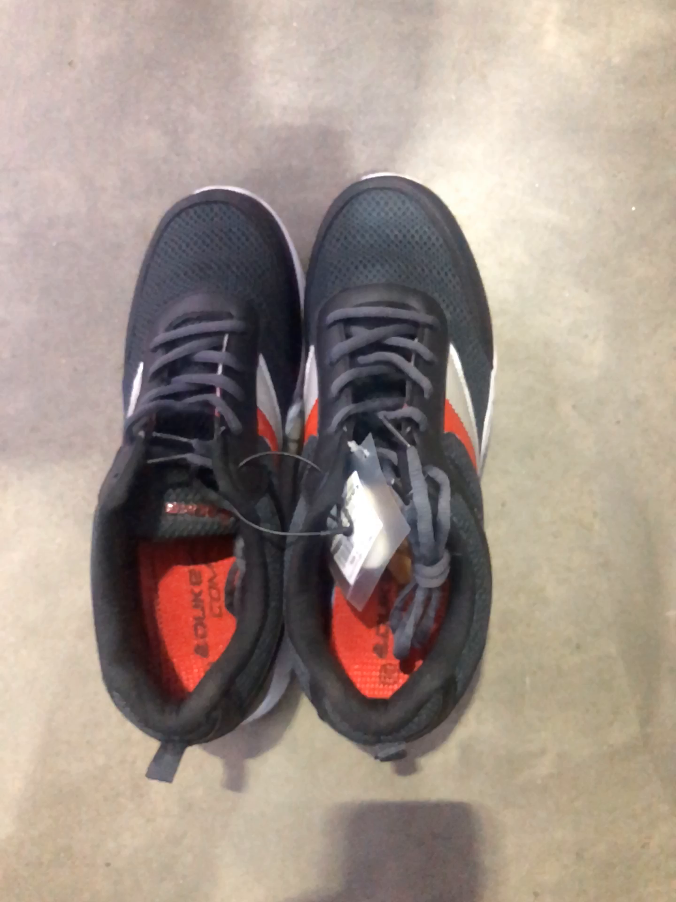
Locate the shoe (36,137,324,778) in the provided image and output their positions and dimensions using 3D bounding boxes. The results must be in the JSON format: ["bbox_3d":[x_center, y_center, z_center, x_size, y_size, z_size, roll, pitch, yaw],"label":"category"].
[{"bbox_3d":[-0.072,0.004,0.372,0.110,0.100,0.270,-2,85,5],"label":"shoe"}]

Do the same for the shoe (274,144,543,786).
[{"bbox_3d":[0.036,0.004,0.372,0.110,0.100,0.270,1,85,6],"label":"shoe"}]
